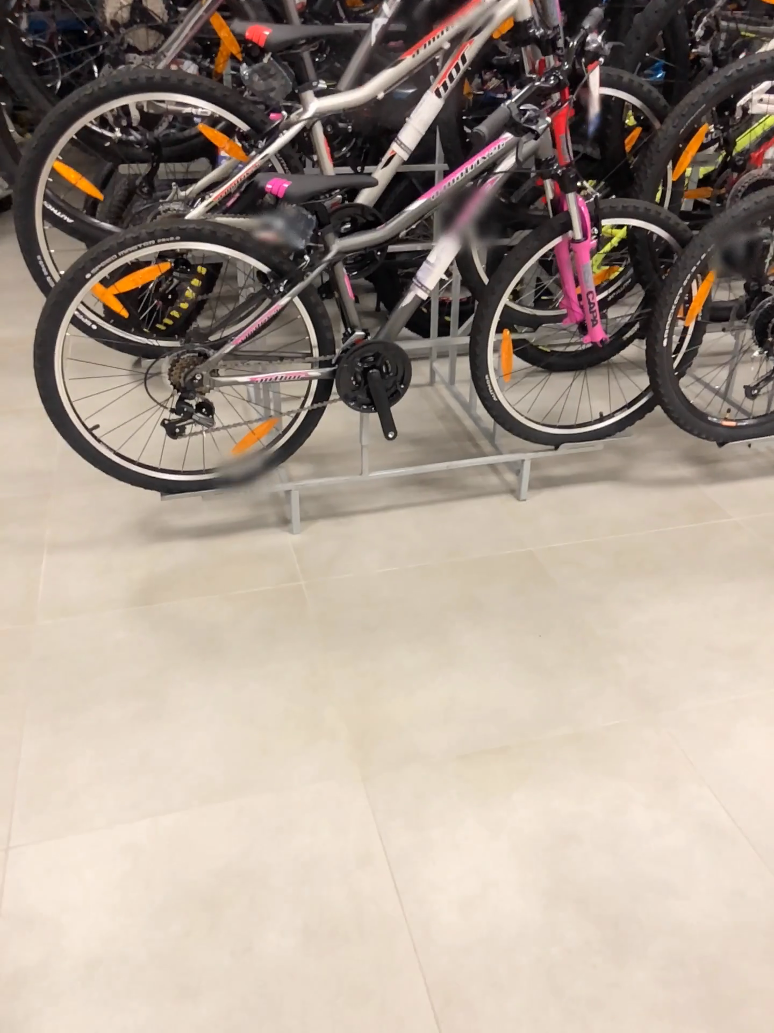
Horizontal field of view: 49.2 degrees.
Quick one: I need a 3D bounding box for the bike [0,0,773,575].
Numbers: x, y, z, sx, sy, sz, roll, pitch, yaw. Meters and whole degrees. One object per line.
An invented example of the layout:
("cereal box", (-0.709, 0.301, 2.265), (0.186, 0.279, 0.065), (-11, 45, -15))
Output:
("bike", (0.041, -0.628, 1.856), (1.606, 0.990, 0.601), (-11, 33, -12))
